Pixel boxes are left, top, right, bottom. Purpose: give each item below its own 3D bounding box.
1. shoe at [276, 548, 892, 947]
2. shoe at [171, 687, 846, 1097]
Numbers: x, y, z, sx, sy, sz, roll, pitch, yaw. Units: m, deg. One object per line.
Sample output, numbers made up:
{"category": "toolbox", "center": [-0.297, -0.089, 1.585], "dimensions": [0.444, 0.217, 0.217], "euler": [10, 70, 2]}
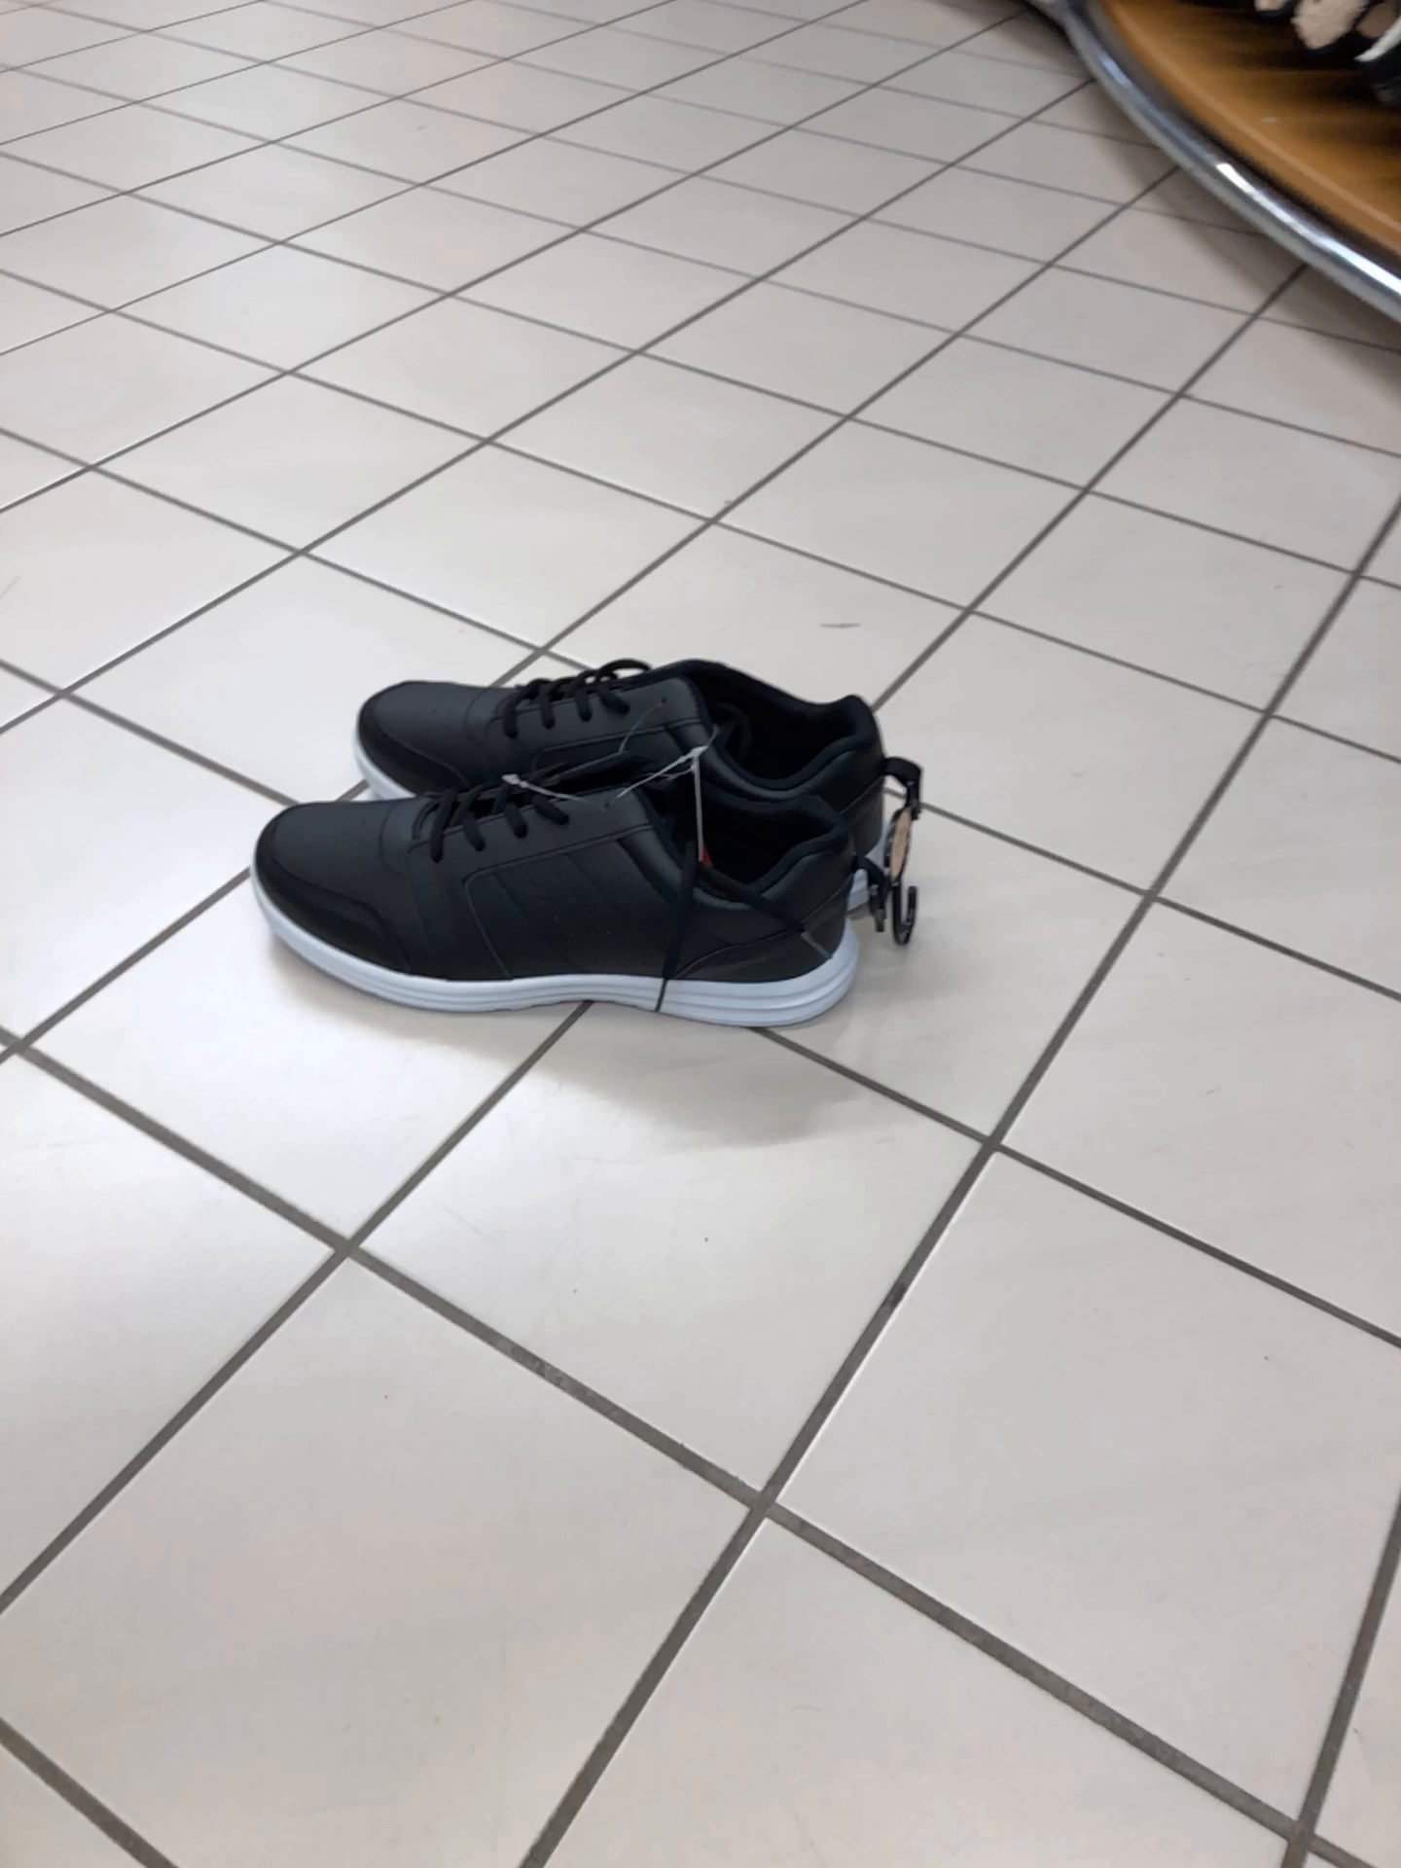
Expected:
{"category": "shoe", "center": [-0.058, -0.102, 0.819], "dimensions": [0.290, 0.119, 0.111], "euler": [12, 44, 9]}
{"category": "shoe", "center": [-0.084, -0.022, 0.749], "dimensions": [0.290, 0.119, 0.111], "euler": [8, 44, 5]}
